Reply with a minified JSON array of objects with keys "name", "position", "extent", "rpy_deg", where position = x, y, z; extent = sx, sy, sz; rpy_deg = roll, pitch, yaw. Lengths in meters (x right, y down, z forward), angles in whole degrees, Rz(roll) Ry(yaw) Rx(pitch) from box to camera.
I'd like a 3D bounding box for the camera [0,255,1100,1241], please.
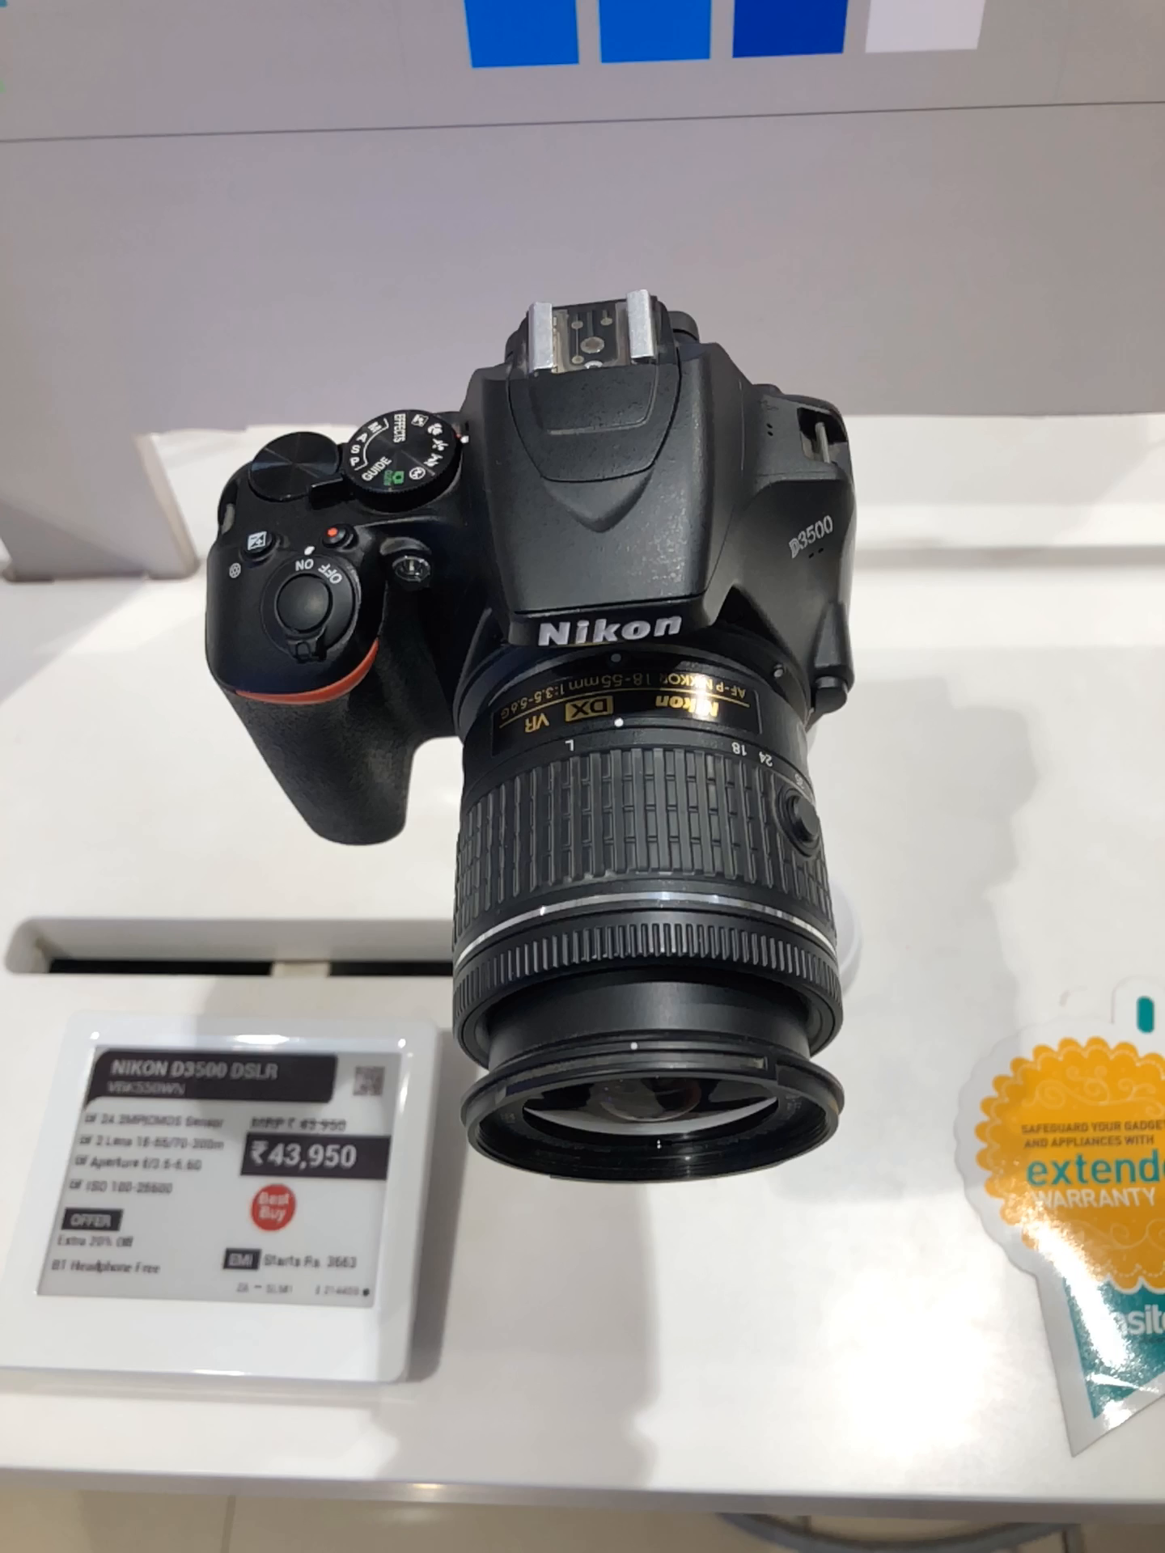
[{"name":"camera","position":[-0.006,-0.004,0.210],"extent":[0.120,0.090,0.121],"rpy_deg":[-5,55,1]}]
